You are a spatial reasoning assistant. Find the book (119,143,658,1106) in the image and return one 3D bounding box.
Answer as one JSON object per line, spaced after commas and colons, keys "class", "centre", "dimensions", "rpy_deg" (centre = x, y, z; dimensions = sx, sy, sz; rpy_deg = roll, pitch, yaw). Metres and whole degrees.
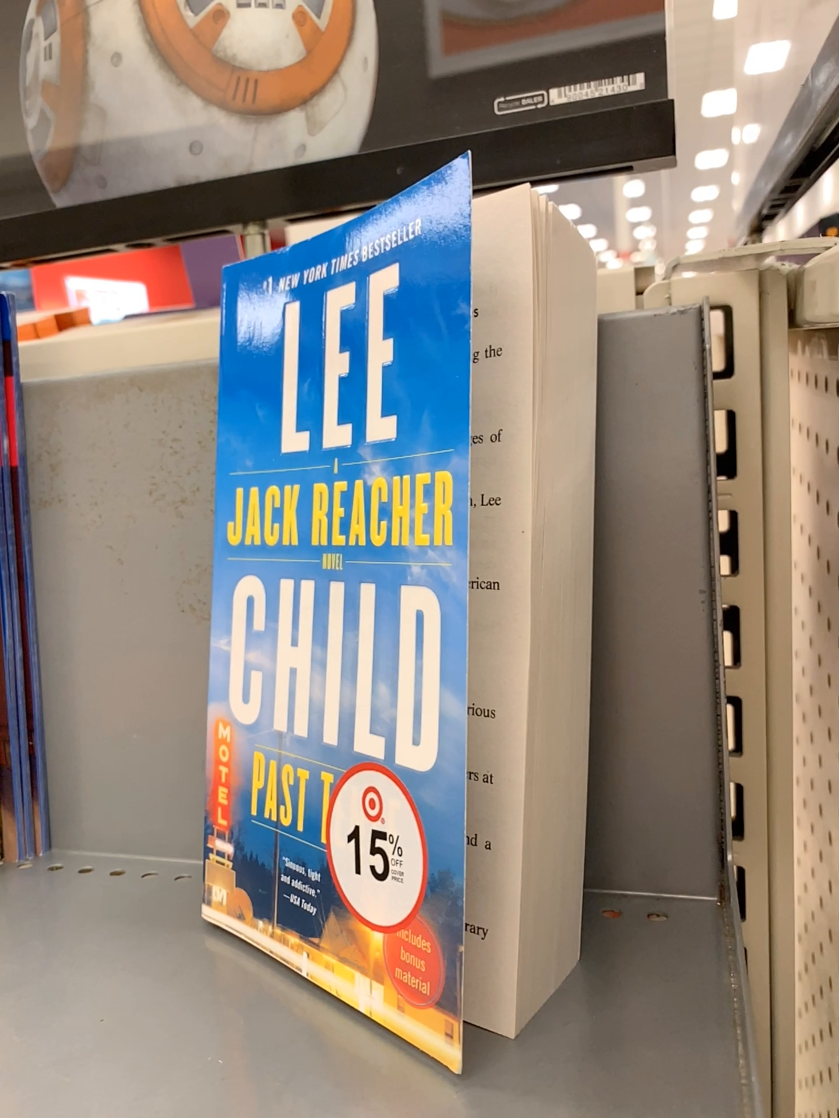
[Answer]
{"class": "book", "centre": [-0.005, 0.011, 0.242], "dimensions": [0.110, 0.197, 0.080], "rpy_deg": [2, -4, 30]}
